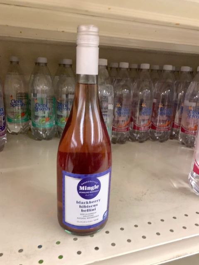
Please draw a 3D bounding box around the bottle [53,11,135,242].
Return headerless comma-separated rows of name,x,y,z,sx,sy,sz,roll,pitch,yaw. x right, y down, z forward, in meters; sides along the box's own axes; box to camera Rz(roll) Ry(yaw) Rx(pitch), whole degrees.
bottle,-0.020,0.004,0.302,0.090,0.299,0.080,-1,18,-13
